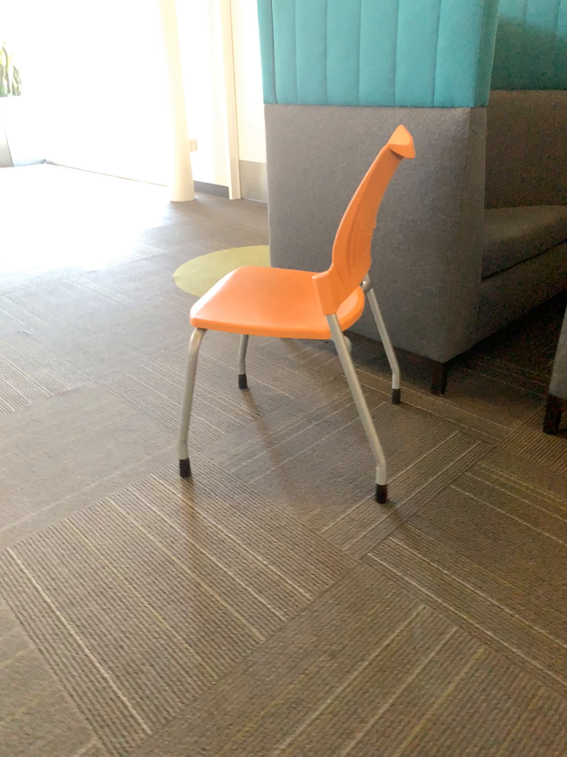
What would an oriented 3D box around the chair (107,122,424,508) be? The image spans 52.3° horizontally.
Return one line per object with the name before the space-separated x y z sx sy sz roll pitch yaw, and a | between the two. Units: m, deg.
chair | 0.025 -0.219 1.542 0.610 0.805 0.644 4 28 11
